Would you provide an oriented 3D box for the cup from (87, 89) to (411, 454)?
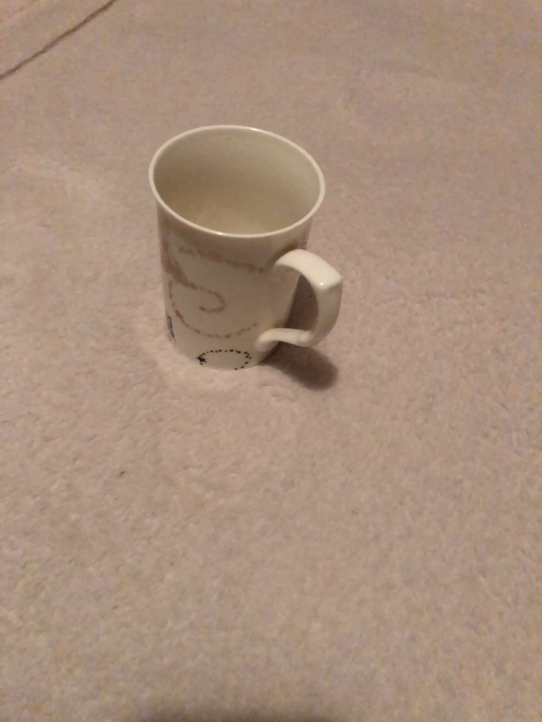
[{"bbox_3d":[-0.014,-0.041,0.286,0.073,0.110,0.112,-37,64,-27],"label":"cup"}]
